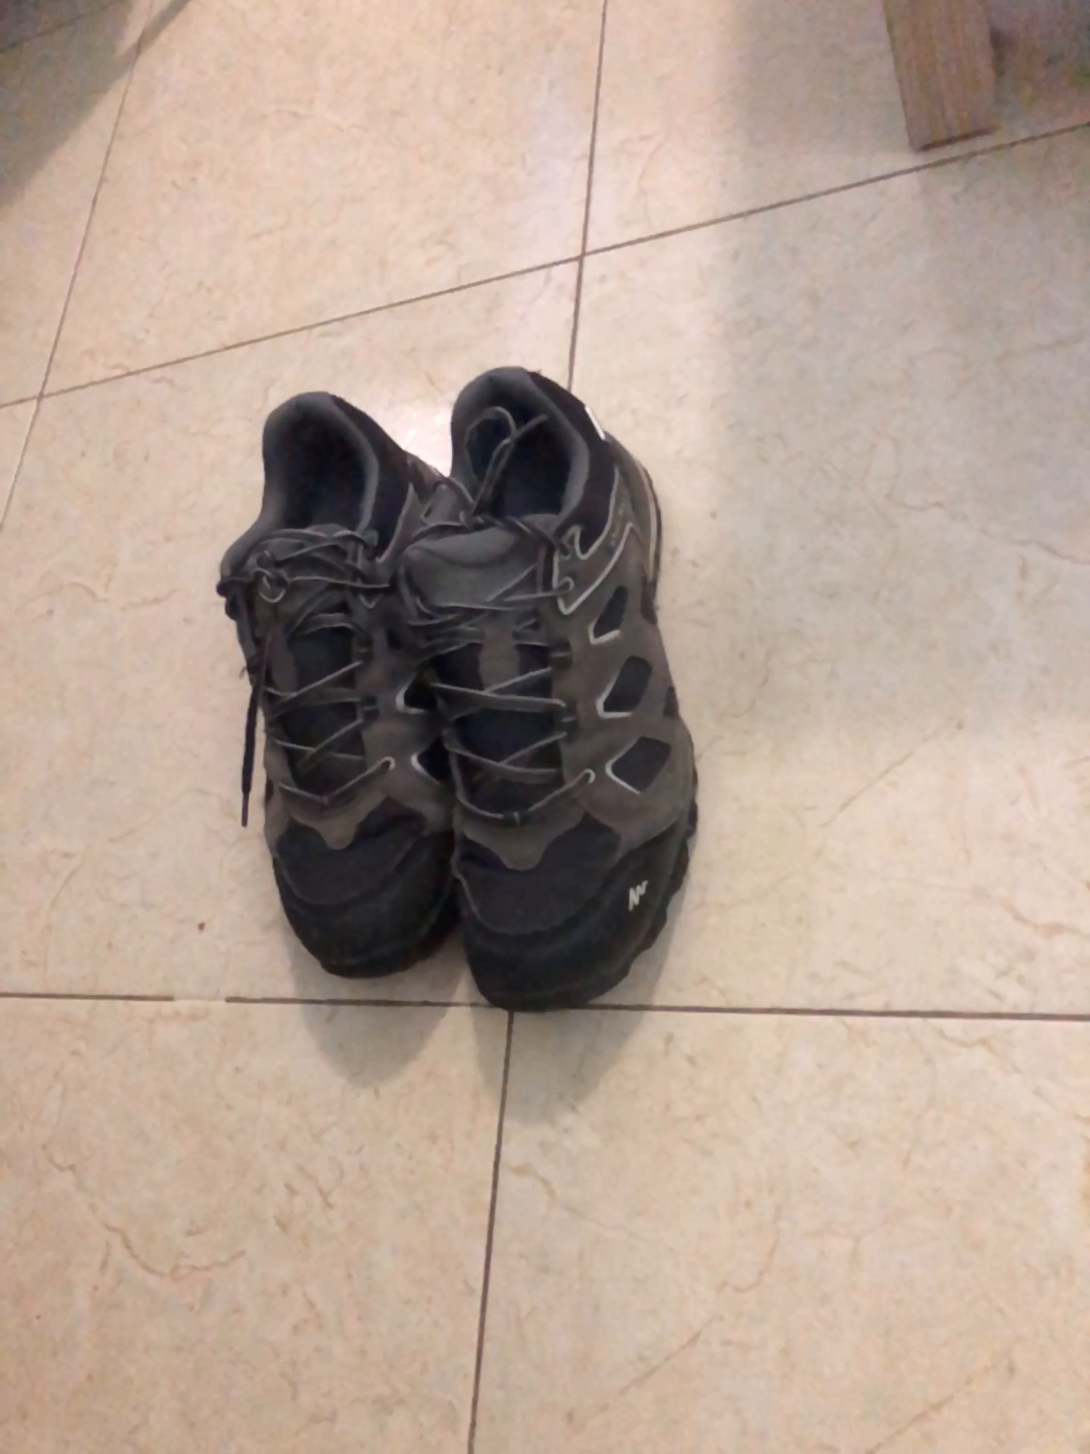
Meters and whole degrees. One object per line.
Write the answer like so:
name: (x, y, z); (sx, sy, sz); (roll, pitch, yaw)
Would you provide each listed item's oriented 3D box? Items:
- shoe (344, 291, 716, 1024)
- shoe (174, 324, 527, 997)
shoe: (0.004, -0.030, 0.559); (0.120, 0.110, 0.310); (-8, 65, 23)
shoe: (-0.095, -0.035, 0.618); (0.120, 0.110, 0.311); (-14, 62, 20)
